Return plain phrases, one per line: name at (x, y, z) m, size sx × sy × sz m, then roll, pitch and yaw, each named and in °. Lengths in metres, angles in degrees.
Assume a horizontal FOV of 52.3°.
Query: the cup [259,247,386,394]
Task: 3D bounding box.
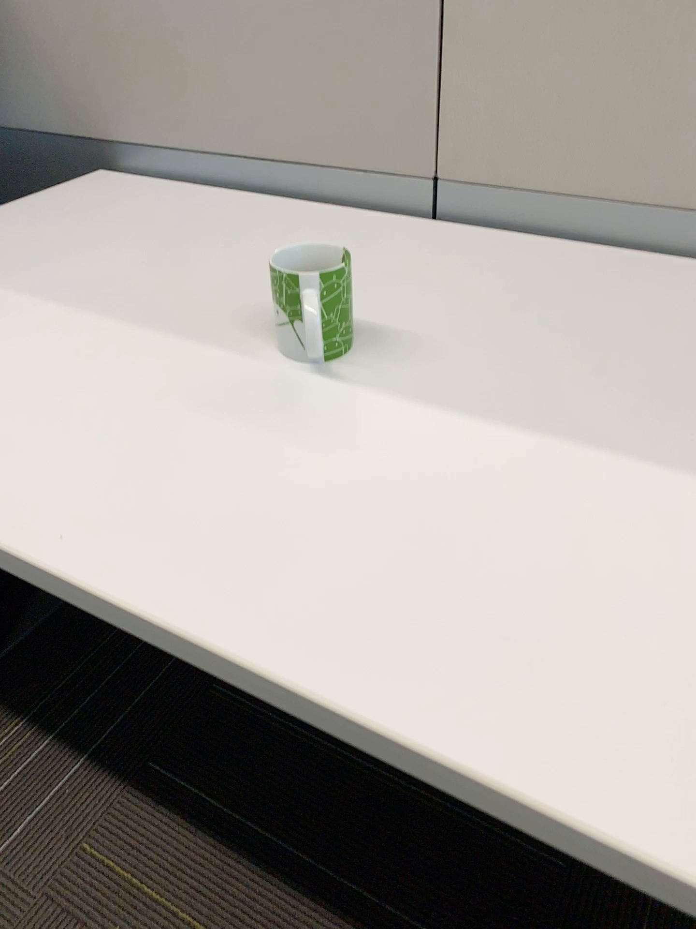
cup at (-0.028, -0.153, 0.733) m, size 0.090 × 0.090 × 0.131 m, roll -14°, pitch 39°, yaw -15°
